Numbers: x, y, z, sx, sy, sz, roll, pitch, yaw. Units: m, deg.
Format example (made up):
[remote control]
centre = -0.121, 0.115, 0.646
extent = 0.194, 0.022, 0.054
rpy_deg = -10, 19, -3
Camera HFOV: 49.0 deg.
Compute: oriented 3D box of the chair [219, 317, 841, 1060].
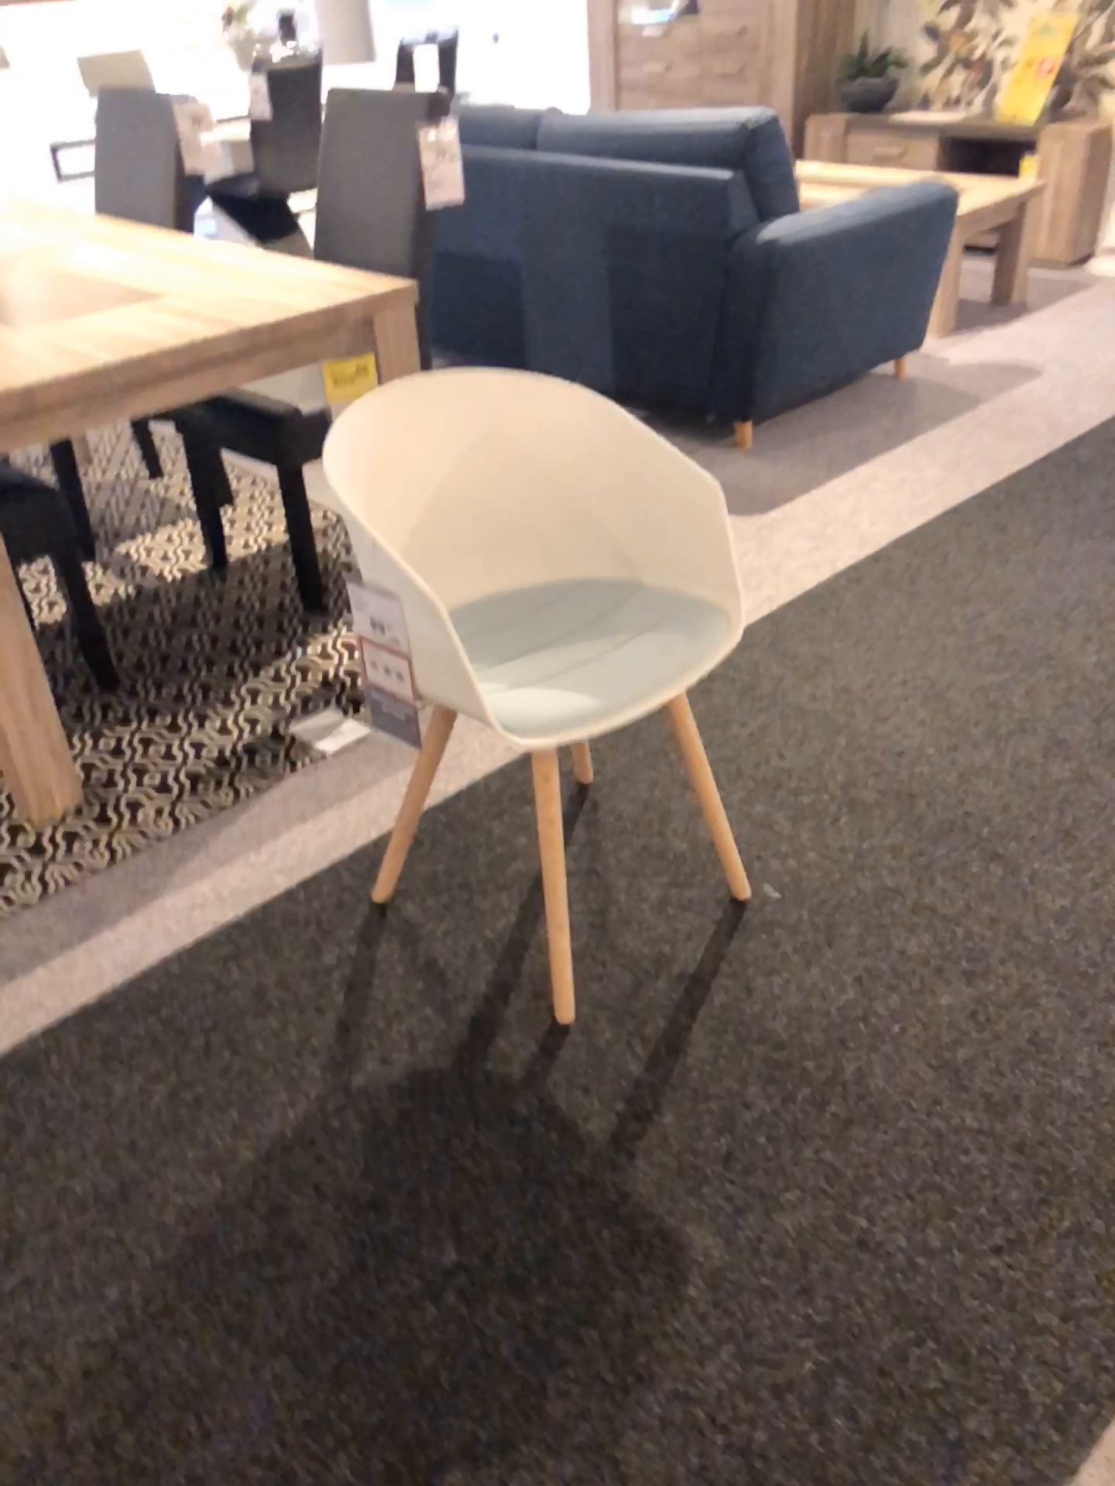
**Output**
[chair]
centre = -0.025, -0.118, 1.761
extent = 0.552, 0.766, 0.581
rpy_deg = -27, 39, -31
